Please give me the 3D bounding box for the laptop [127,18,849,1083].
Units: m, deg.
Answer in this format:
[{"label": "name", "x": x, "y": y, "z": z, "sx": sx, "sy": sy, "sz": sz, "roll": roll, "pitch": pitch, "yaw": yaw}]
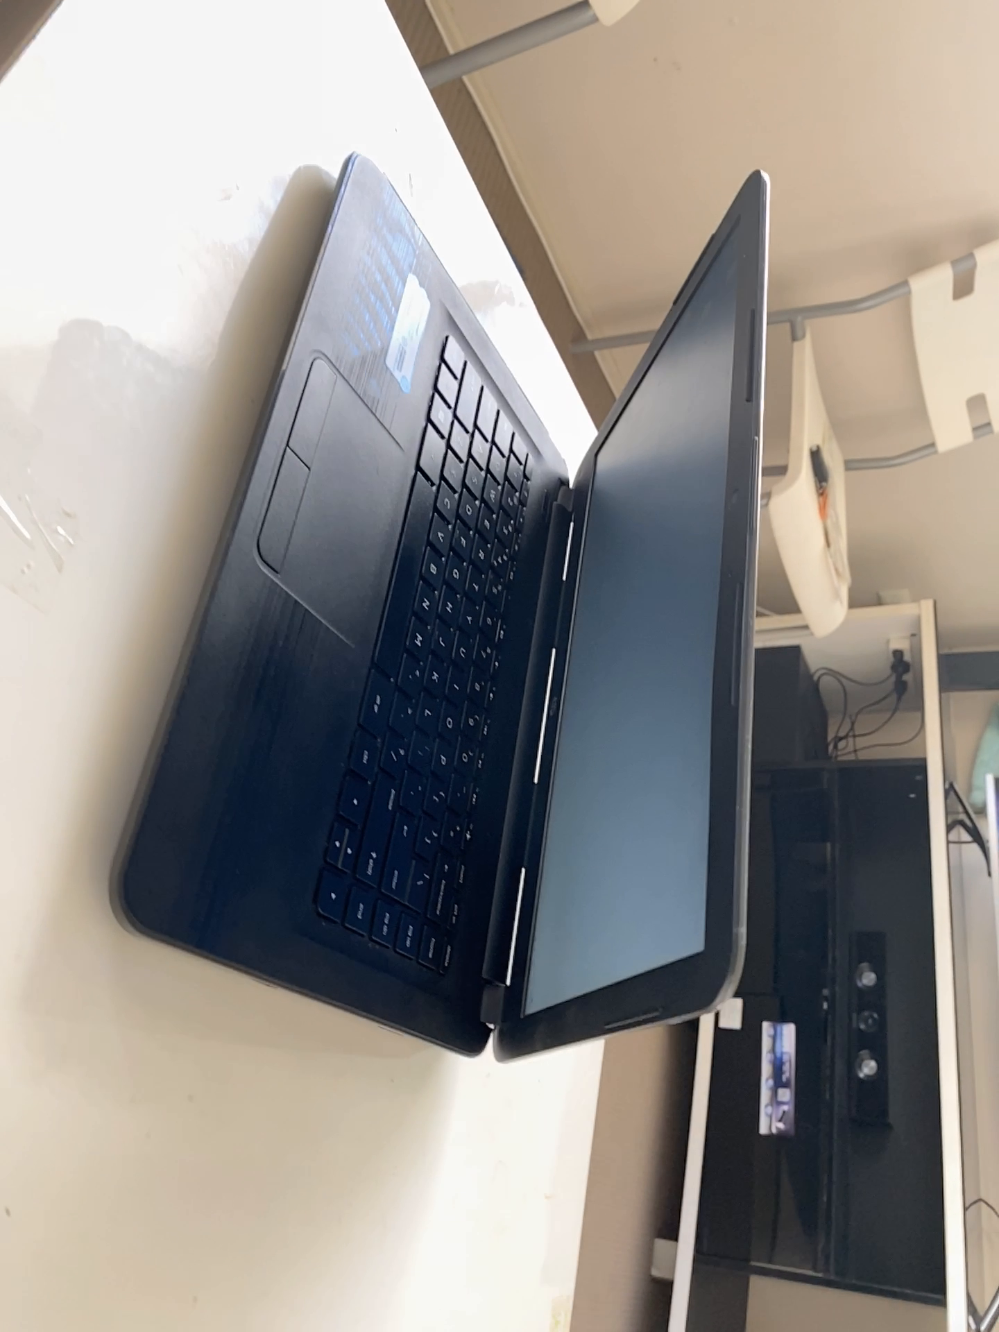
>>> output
[{"label": "laptop", "x": 0.038, "y": -0.032, "z": 0.416, "sx": 0.226, "sy": 0.154, "sz": 0.336, "roll": 47, "pitch": 44, "yaw": -51}]
